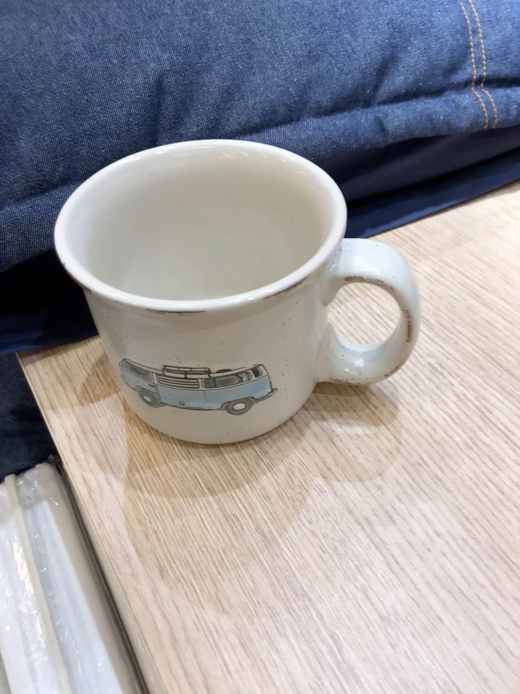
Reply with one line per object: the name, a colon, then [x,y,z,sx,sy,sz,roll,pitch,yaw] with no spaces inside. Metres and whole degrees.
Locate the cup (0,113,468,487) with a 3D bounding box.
cup: [-0.003,-0.022,0.229,0.140,0.089,0.101,6,47,9]
